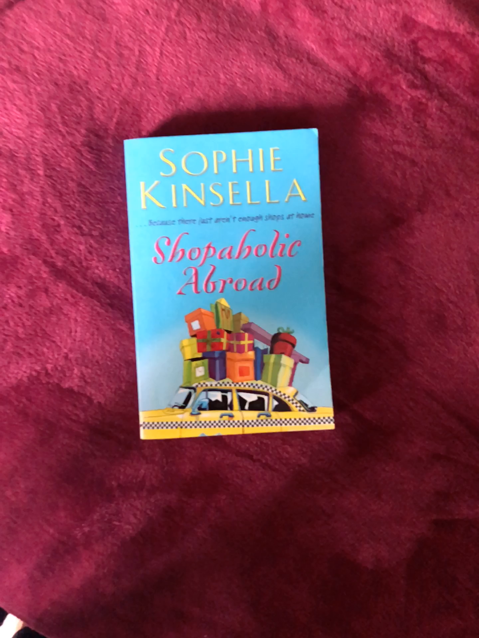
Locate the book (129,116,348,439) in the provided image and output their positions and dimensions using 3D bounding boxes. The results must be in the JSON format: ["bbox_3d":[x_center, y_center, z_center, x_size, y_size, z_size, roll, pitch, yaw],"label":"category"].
[{"bbox_3d":[0.000,-0.027,0.354,0.129,0.035,0.200,-3,91,0],"label":"book"}]
